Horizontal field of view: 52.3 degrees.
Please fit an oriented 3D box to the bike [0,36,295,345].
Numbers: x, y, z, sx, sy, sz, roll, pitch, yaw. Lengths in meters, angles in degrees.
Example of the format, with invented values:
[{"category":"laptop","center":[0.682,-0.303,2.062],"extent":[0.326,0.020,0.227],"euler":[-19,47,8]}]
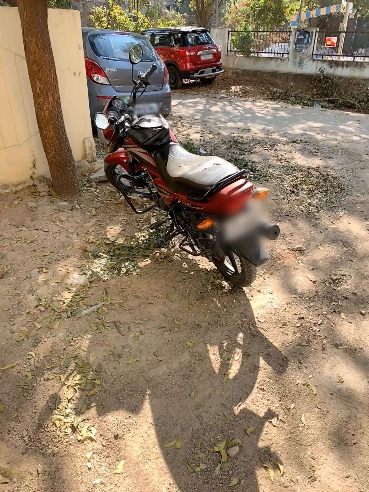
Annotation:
[{"category":"bike","center":[-0.343,-0.507,2.333],"extent":[0.777,1.178,1.646],"euler":[-21,40,-33]}]
